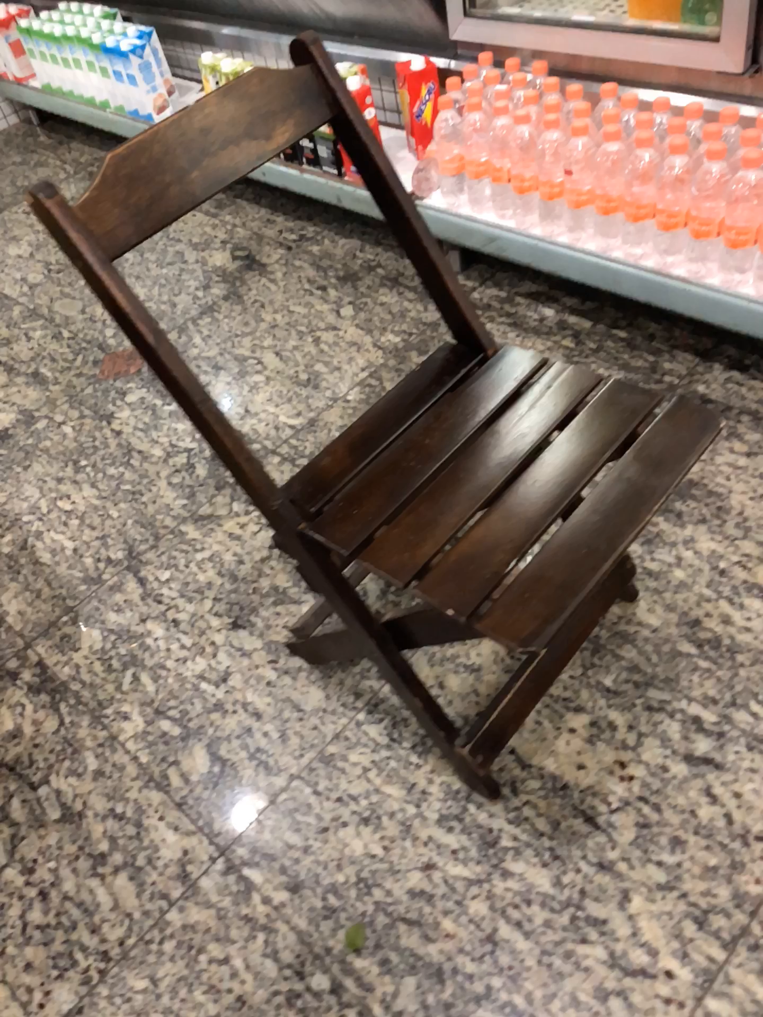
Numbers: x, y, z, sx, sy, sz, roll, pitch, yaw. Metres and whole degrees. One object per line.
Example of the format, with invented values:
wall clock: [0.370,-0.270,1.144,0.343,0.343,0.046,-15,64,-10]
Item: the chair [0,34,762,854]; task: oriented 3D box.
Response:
chair: [0.027,-0.076,0.984,0.552,0.705,0.441,26,58,33]
